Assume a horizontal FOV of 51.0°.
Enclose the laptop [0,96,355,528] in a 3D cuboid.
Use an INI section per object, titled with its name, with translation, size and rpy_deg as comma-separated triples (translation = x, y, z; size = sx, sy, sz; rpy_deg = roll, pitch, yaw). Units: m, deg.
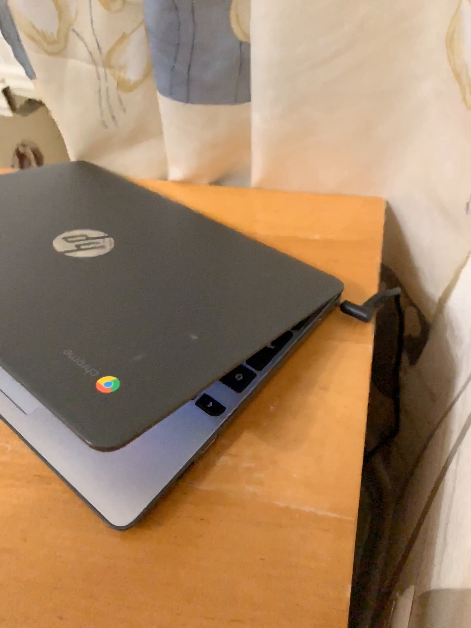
[laptop]
translation = -0.094, -0.039, 0.317
size = 0.268, 0.066, 0.191
rpy_deg = 30, 57, 29
